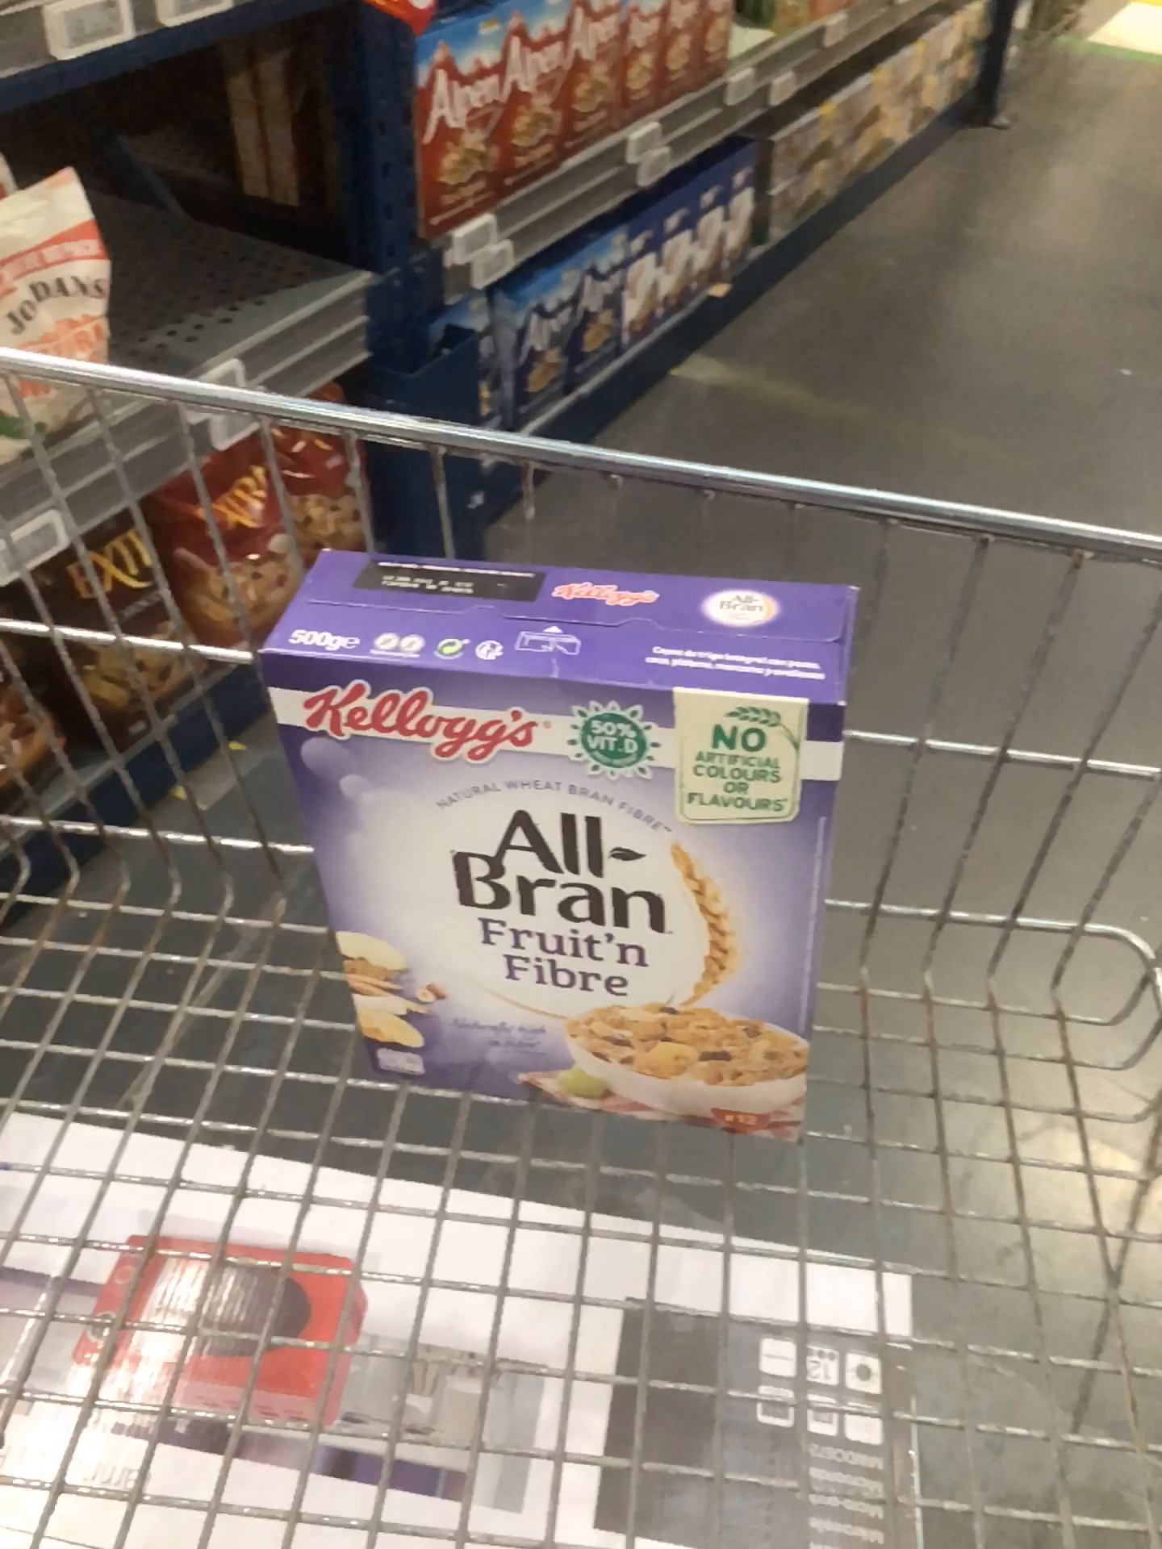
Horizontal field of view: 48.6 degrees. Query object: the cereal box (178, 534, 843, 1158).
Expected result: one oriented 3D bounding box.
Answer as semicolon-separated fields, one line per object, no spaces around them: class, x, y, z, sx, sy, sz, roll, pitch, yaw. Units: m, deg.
cereal box;-0.012;0.035;0.466;0.190;0.229;0.070;5;44;10
